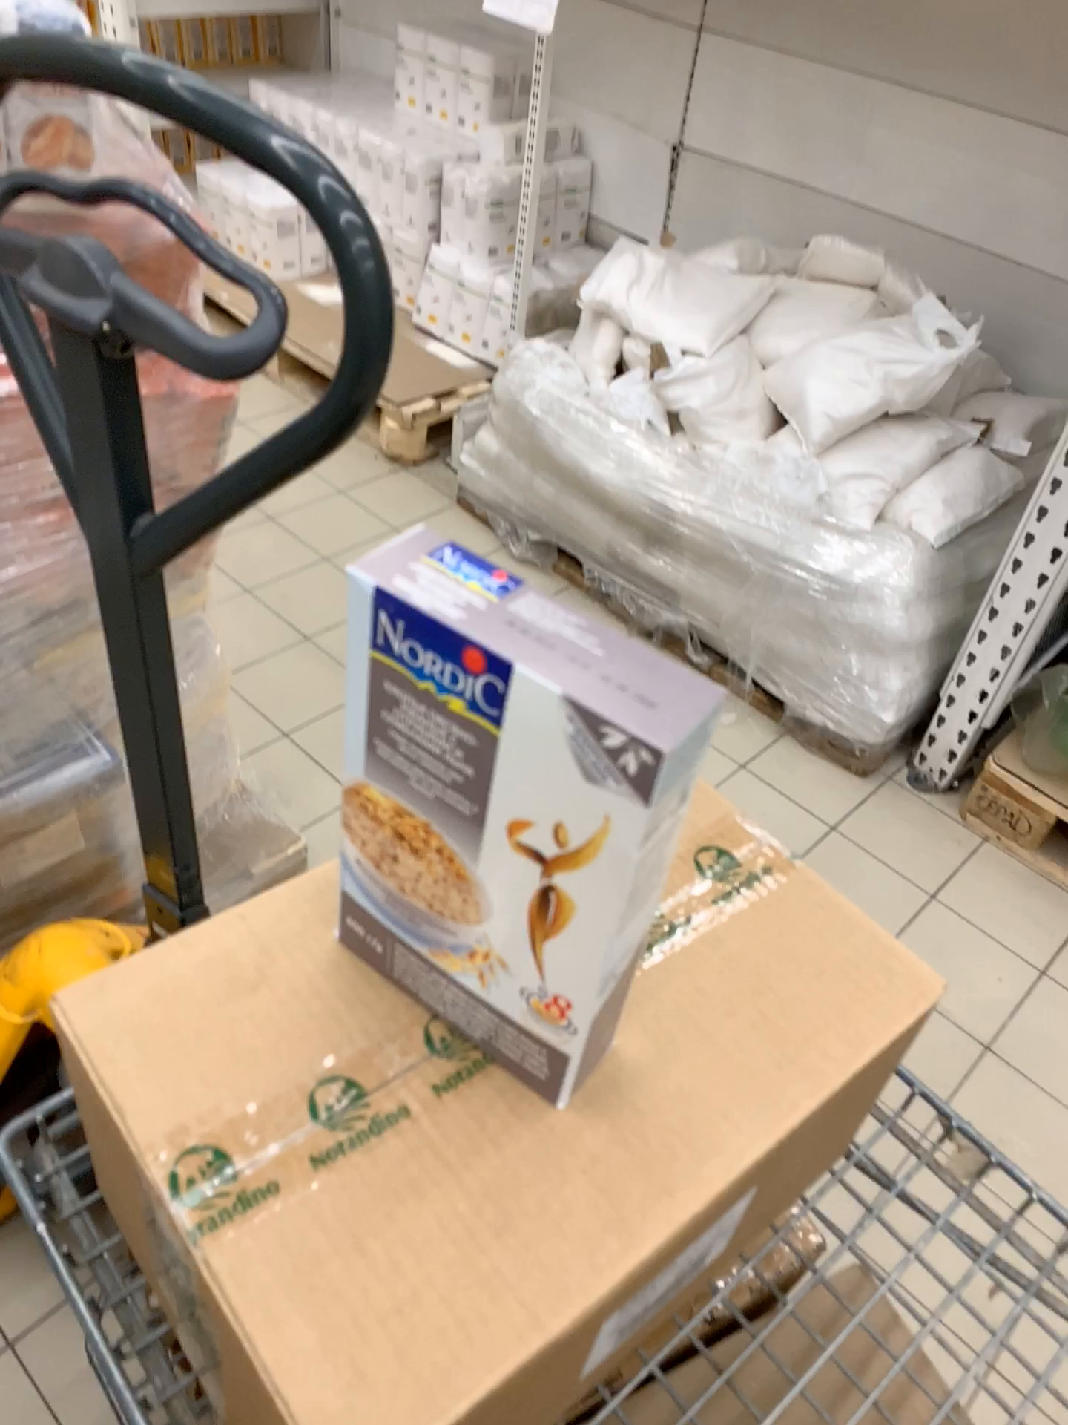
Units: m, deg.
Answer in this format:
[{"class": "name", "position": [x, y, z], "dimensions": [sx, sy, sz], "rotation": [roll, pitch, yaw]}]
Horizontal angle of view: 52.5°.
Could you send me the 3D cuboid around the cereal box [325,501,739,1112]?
[{"class": "cereal box", "position": [-0.017, 0.050, 0.470], "dimensions": [0.150, 0.239, 0.050], "rotation": [30, 46, 22]}]
